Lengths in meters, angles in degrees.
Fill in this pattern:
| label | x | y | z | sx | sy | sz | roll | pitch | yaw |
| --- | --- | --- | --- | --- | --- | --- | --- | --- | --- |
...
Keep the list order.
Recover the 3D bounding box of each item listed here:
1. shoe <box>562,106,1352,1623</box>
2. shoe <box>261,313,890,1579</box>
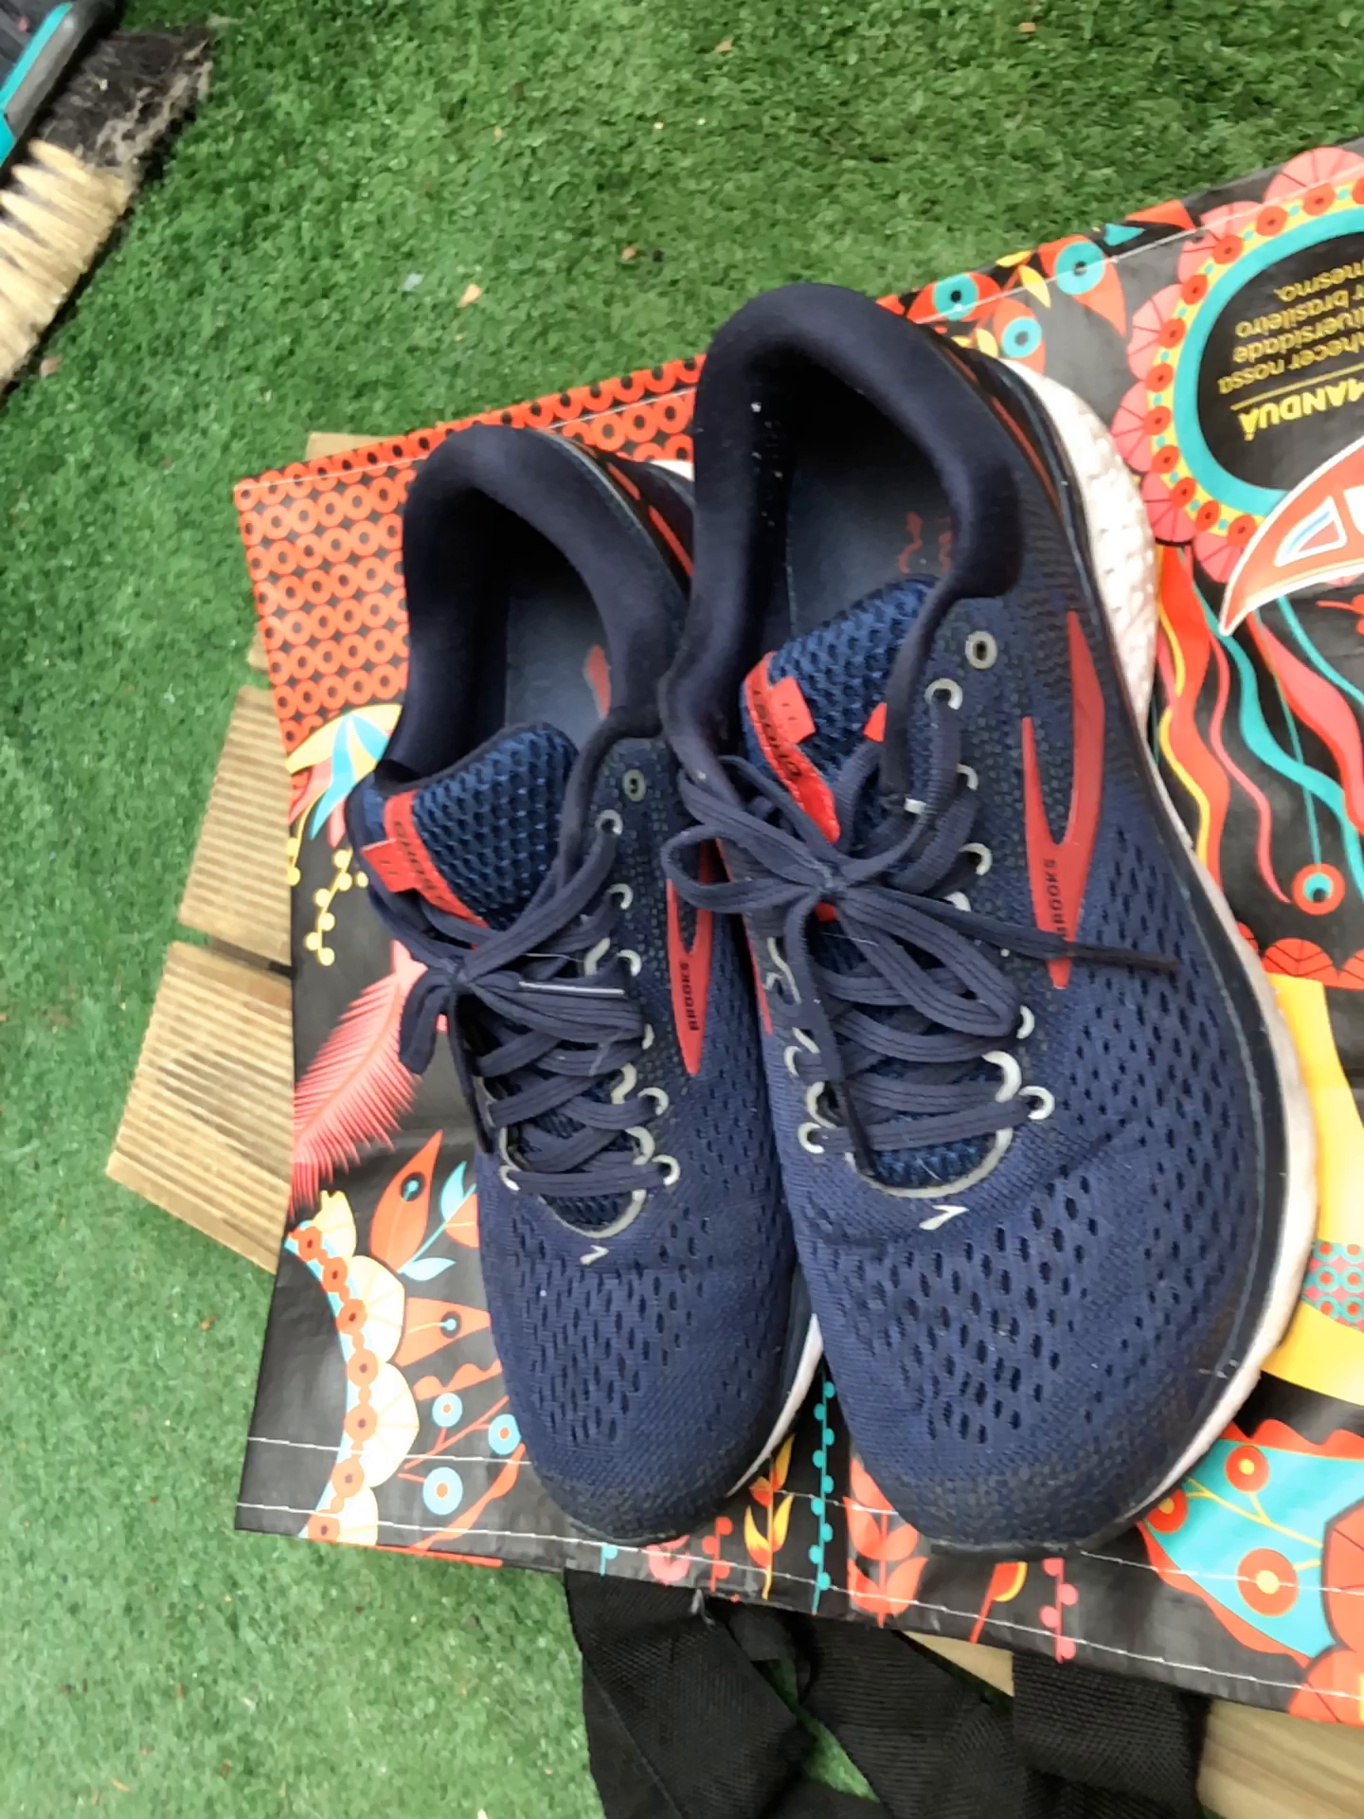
| label | x | y | z | sx | sy | sz | roll | pitch | yaw |
| --- | --- | --- | --- | --- | --- | --- | --- | --- | --- |
| shoe | 0.054 | -0.006 | 0.322 | 0.100 | 0.100 | 0.265 | -14 | 74 | 33 |
| shoe | -0.031 | 0.012 | 0.381 | 0.108 | 0.100 | 0.265 | -12 | 75 | 34 |
